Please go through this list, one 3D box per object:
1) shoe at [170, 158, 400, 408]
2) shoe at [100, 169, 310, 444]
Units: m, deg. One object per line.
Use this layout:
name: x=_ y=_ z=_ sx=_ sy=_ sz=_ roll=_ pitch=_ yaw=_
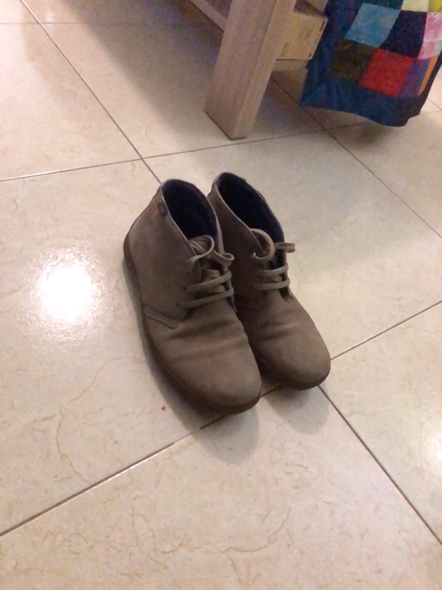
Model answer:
shoe: x=0.059 y=-0.028 z=0.601 sx=0.120 sy=0.120 sz=0.280 roll=-14 pitch=57 yaw=-29
shoe: x=-0.038 y=-0.002 z=0.552 sx=0.110 sy=0.120 sz=0.280 roll=-11 pitch=55 yaw=-27
